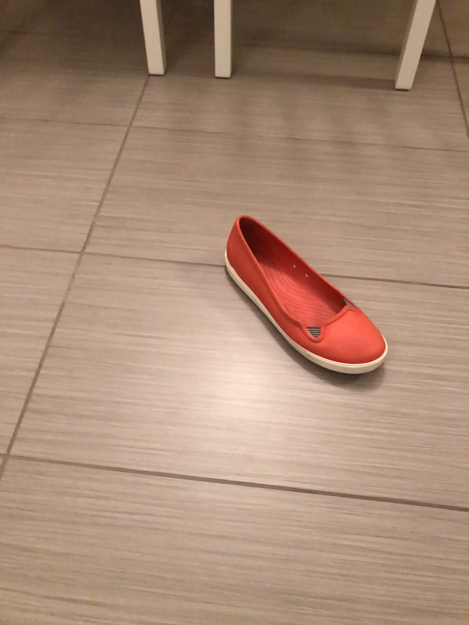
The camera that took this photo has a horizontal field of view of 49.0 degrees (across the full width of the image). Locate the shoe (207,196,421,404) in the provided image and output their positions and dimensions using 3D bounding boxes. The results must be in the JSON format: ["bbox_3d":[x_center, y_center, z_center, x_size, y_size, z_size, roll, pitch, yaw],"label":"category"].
[{"bbox_3d":[0.087,-0.026,0.649,0.100,0.070,0.271,-32,60,-20],"label":"shoe"}]
